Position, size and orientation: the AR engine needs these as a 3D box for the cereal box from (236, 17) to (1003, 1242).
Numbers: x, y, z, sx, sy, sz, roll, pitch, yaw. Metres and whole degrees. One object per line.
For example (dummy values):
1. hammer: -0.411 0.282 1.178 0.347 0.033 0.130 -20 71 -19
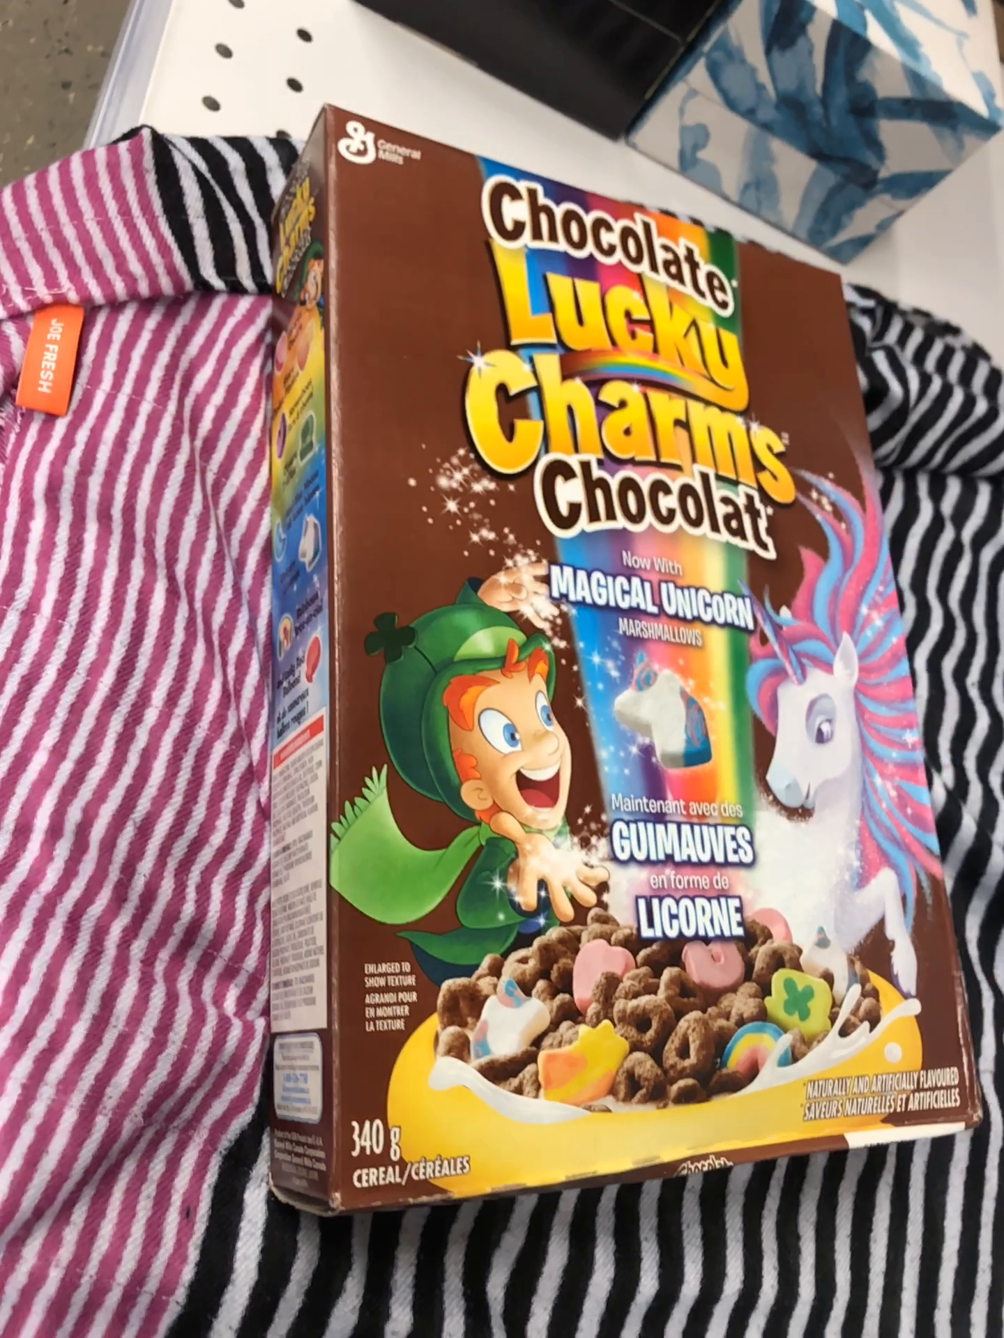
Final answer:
1. cereal box: 0.038 -0.013 0.327 0.211 0.060 0.290 6 72 -27
